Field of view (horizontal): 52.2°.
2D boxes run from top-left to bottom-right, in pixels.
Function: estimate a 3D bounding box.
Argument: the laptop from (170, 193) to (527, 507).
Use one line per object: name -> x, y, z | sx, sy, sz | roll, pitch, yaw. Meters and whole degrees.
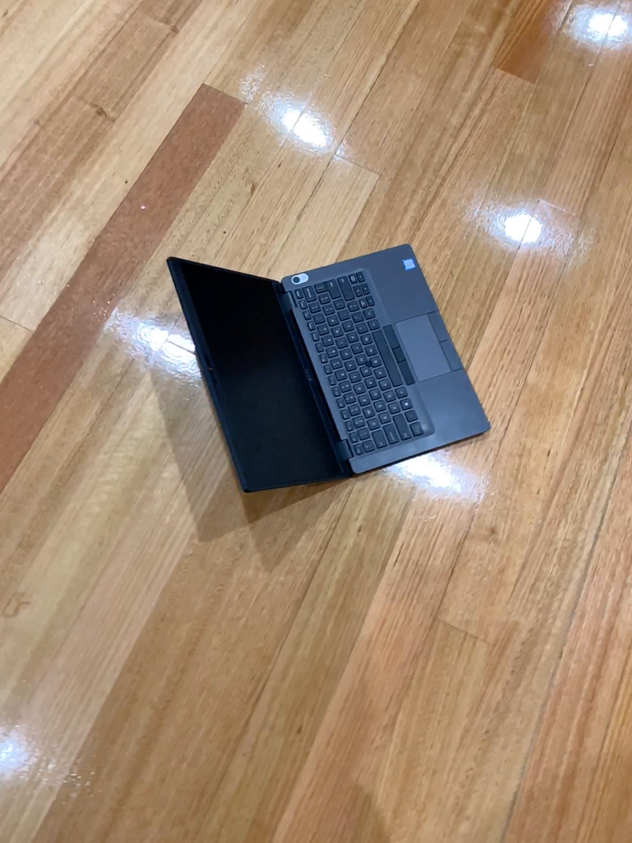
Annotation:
laptop -> 0.033, -0.102, 0.892 | 0.372, 0.134, 0.320 | -17, 75, -11
